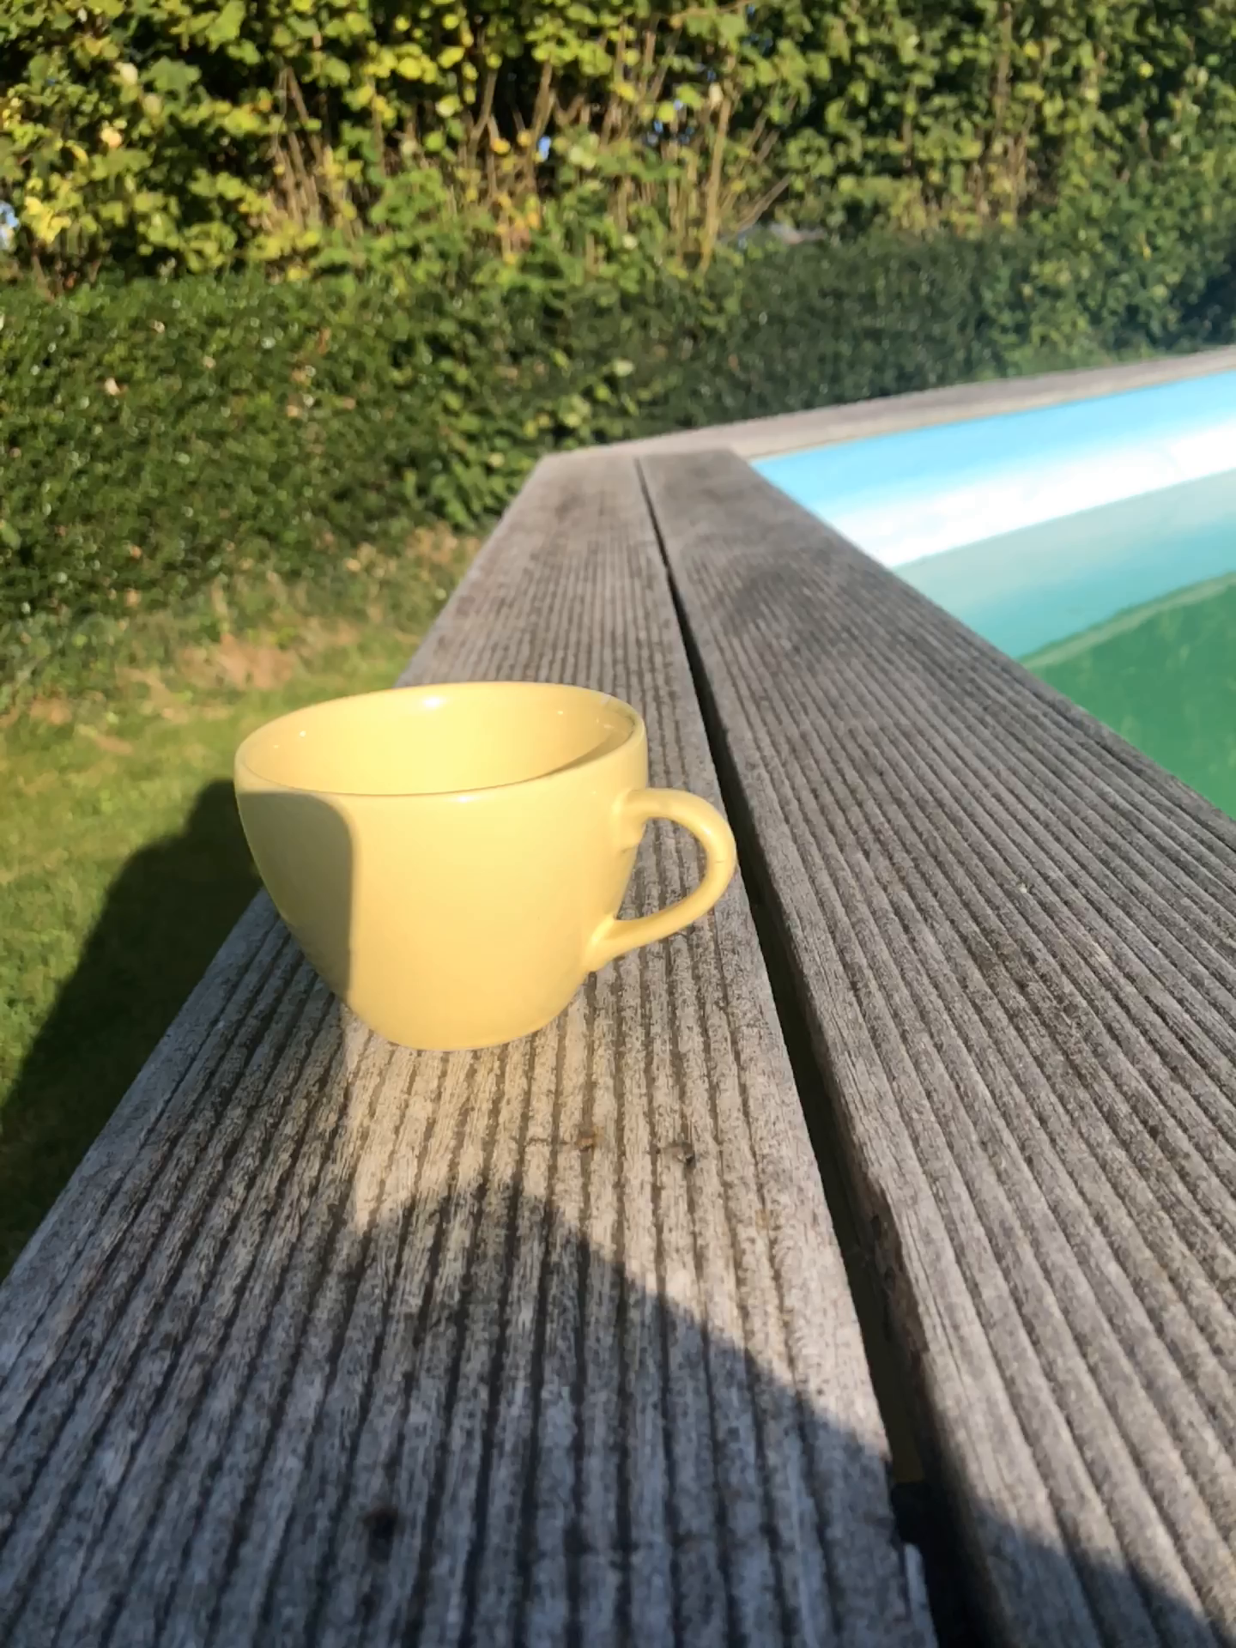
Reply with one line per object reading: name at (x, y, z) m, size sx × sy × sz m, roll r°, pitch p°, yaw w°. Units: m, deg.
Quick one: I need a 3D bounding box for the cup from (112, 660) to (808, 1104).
cup at (-0.029, 0.003, 0.291) m, size 0.112 × 0.053 × 0.089 m, roll 7°, pitch 22°, yaw 28°
